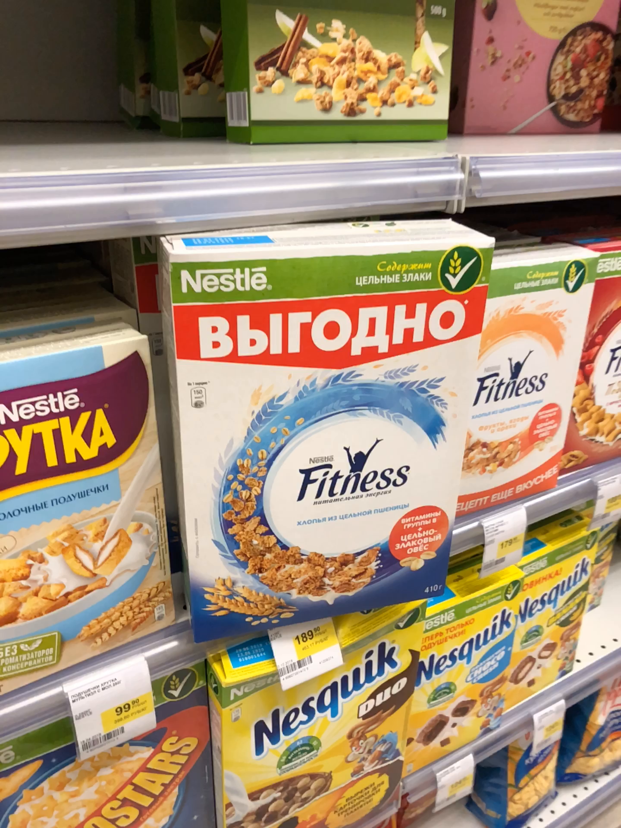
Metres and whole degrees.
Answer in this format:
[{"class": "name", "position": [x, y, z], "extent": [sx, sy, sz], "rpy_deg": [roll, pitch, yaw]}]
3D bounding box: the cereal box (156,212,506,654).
[{"class": "cereal box", "position": [0.008, 0.017, 0.474], "extent": [0.200, 0.288, 0.060], "rpy_deg": [-6, 28, -16]}]
